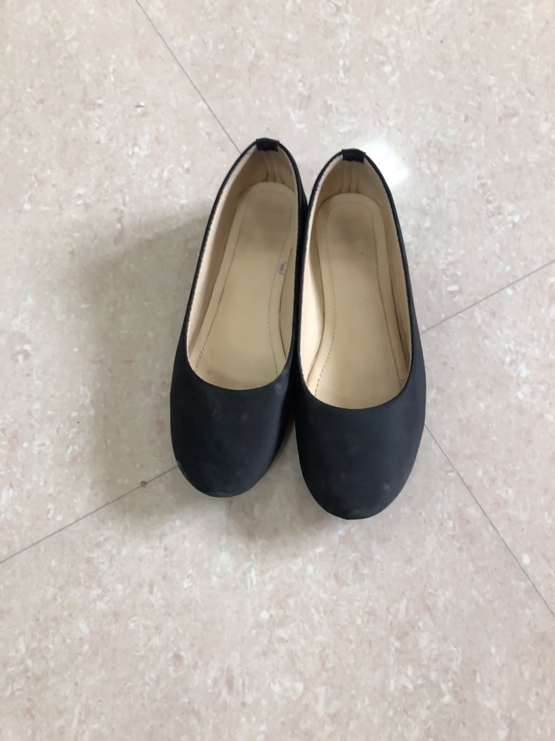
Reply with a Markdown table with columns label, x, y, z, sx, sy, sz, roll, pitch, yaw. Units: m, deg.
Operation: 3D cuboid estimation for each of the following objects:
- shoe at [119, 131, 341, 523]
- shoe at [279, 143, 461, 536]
| label | x | y | z | sx | sy | sz | roll | pitch | yaw |
| --- | --- | --- | --- | --- | --- | --- | --- | --- | --- |
| shoe | -0.019 | -0.033 | 0.404 | 0.092 | 0.075 | 0.239 | 7 | 69 | 7 |
| shoe | 0.055 | -0.024 | 0.393 | 0.092 | 0.075 | 0.239 | 2 | 68 | 4 |
